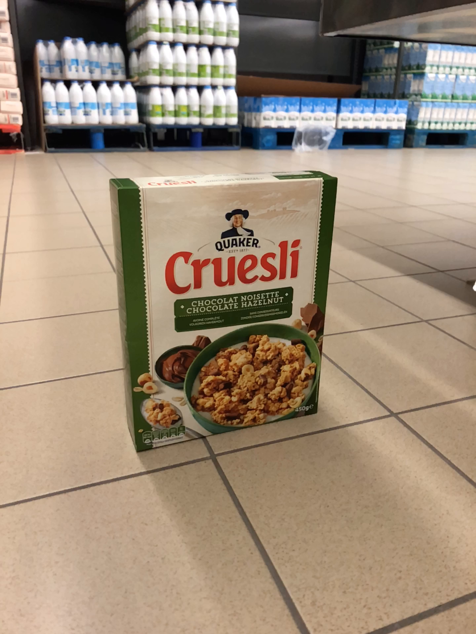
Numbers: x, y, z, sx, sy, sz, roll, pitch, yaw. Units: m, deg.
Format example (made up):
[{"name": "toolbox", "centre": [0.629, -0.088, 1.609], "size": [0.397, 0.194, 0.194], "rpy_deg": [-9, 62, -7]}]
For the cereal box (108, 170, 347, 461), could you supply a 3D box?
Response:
[{"name": "cereal box", "centre": [-0.008, -0.005, 0.480], "size": [0.190, 0.239, 0.060], "rpy_deg": [-7, 22, -18]}]
